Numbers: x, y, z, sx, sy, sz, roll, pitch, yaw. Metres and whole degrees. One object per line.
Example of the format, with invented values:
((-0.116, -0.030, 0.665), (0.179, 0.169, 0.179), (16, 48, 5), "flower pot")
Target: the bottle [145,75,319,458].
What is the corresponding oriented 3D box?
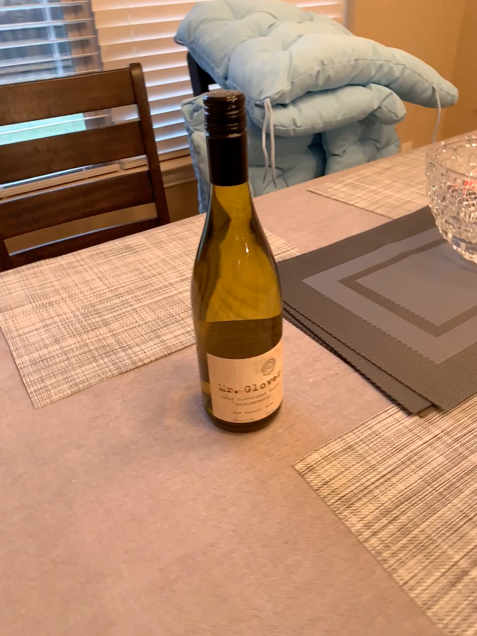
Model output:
((-0.002, -0.029, 0.412), (0.090, 0.298, 0.090), (-2, 34, 1), "bottle")
